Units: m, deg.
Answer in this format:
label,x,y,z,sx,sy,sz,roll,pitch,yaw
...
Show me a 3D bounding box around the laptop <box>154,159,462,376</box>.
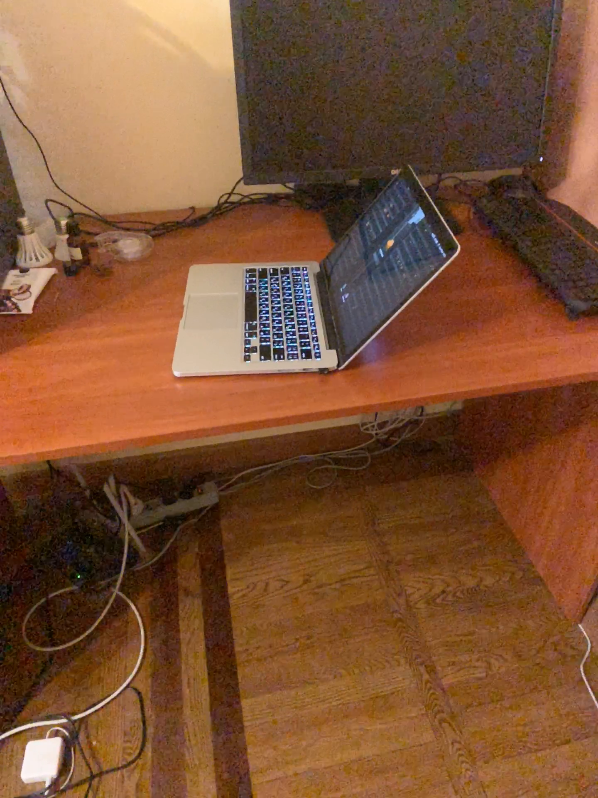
label,x,y,z,sx,sy,sz,roll,pitch,yaw
laptop,0.005,-0.188,0.803,0.333,0.139,0.287,-4,39,-2
